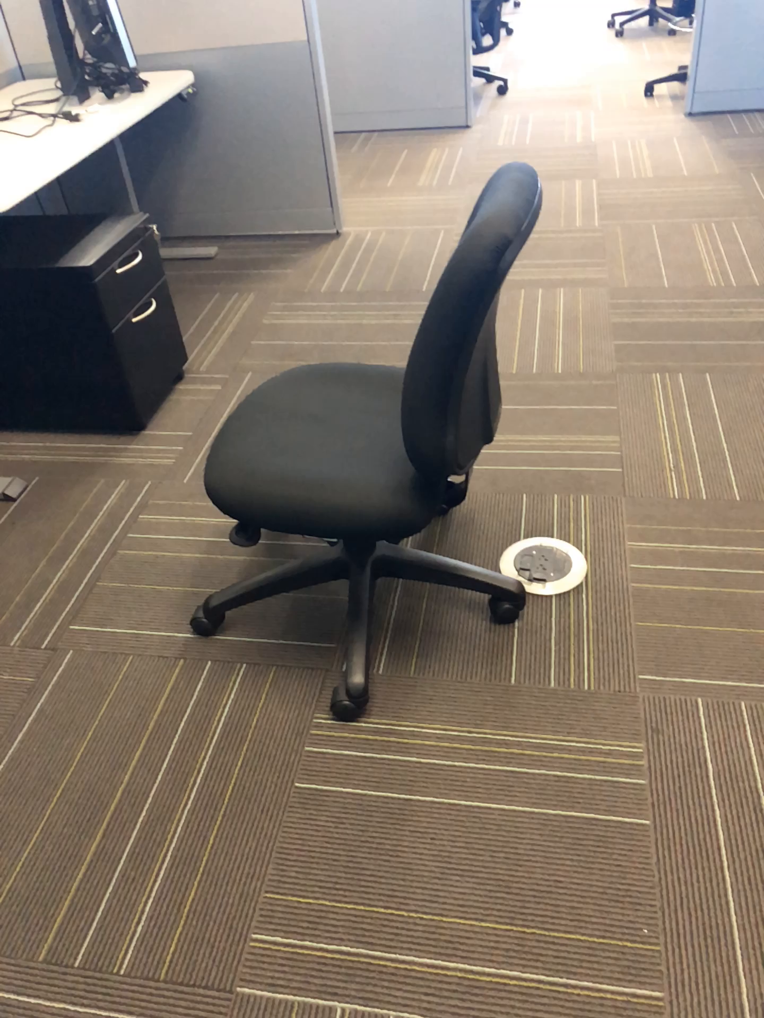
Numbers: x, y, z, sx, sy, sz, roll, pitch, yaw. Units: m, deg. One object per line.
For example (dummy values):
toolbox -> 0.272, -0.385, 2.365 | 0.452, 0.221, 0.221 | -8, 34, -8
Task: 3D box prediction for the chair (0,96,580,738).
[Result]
chair -> -0.052, -0.188, 1.559 | 0.761, 0.846, 0.774 | 1, 38, 11
